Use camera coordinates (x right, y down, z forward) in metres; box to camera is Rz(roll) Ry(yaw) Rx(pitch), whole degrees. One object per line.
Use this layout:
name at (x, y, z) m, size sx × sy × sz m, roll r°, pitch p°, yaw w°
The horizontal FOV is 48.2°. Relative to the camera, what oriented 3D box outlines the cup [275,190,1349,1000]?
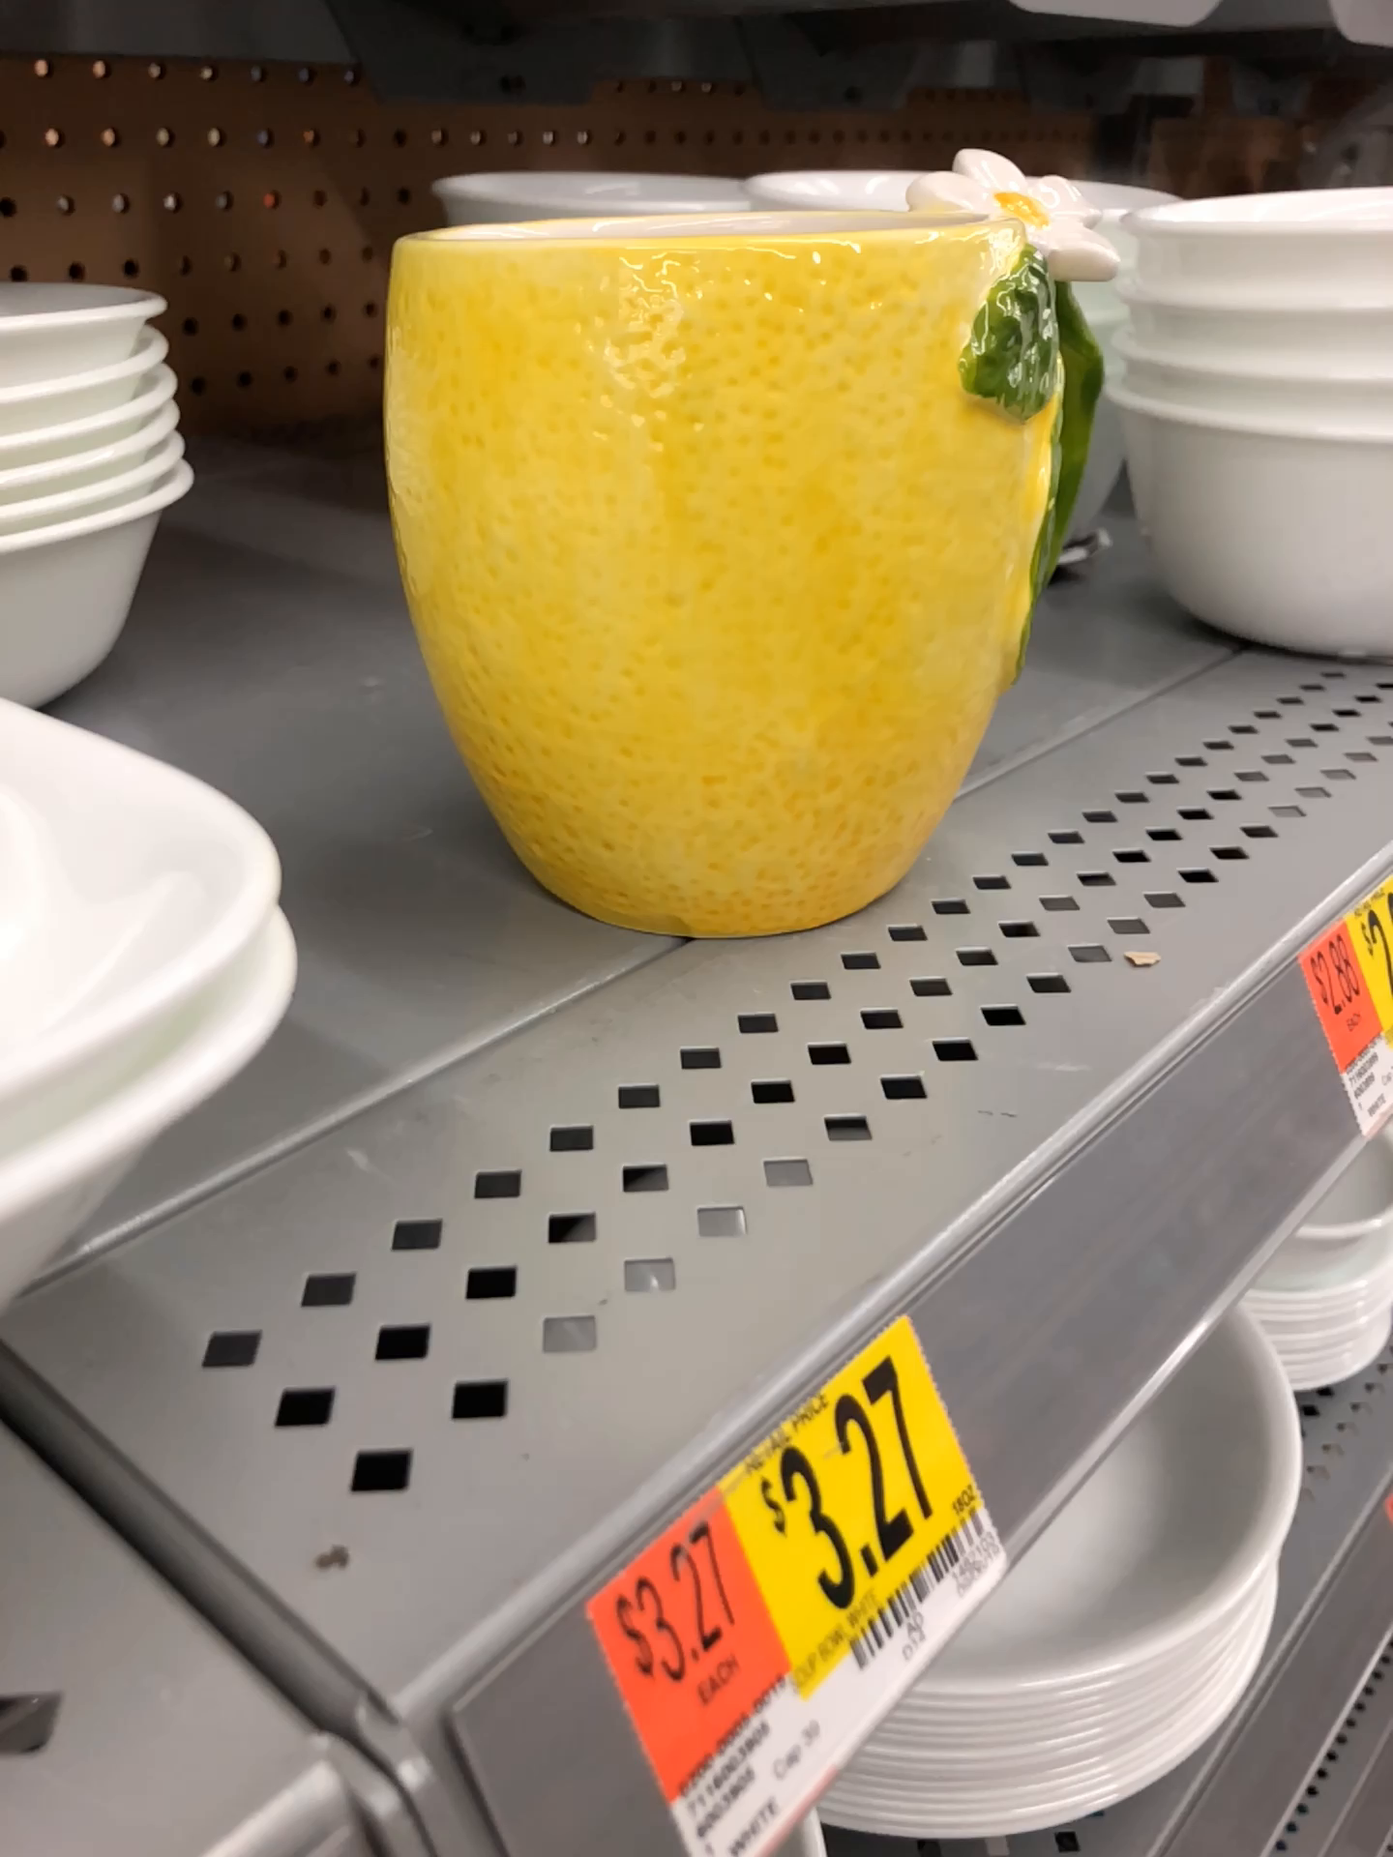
cup at (0.023, -0.071, 0.264) m, size 0.101 × 0.094 × 0.139 m, roll 23°, pitch 35°, yaw 39°
